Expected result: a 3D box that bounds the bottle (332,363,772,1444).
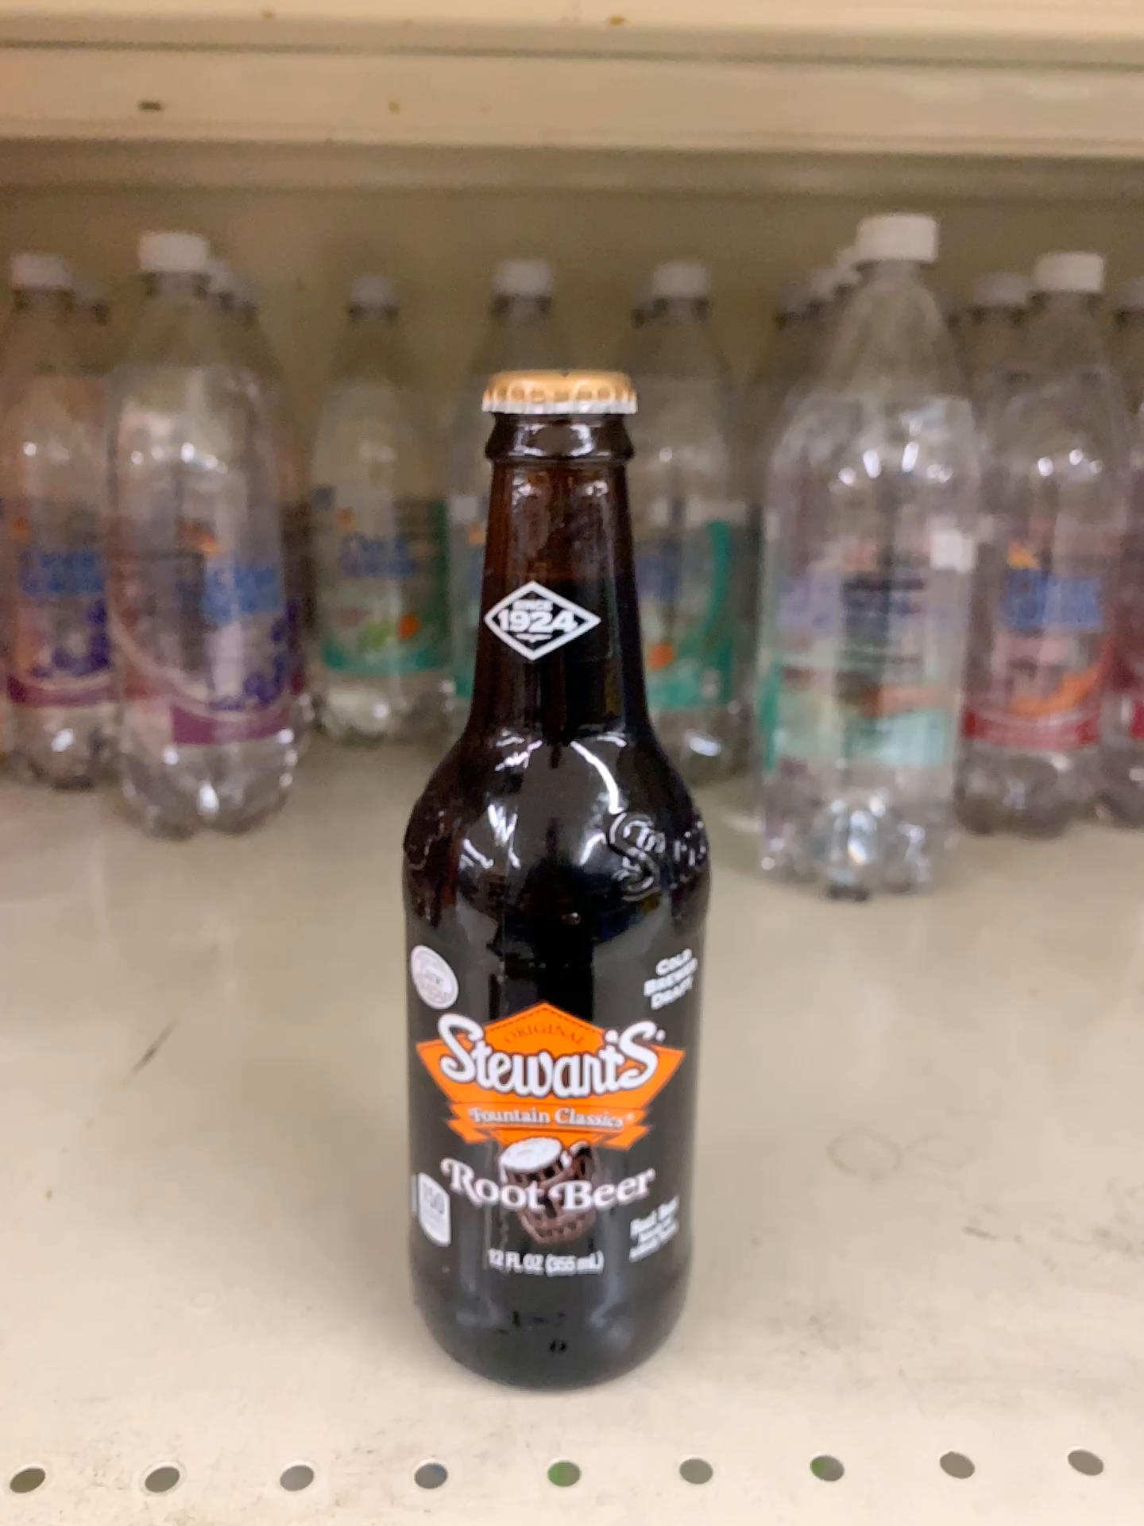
[{"bbox_3d":[-0.001,0.028,0.247,0.070,0.208,0.060,2,16,6],"label":"bottle"}]
